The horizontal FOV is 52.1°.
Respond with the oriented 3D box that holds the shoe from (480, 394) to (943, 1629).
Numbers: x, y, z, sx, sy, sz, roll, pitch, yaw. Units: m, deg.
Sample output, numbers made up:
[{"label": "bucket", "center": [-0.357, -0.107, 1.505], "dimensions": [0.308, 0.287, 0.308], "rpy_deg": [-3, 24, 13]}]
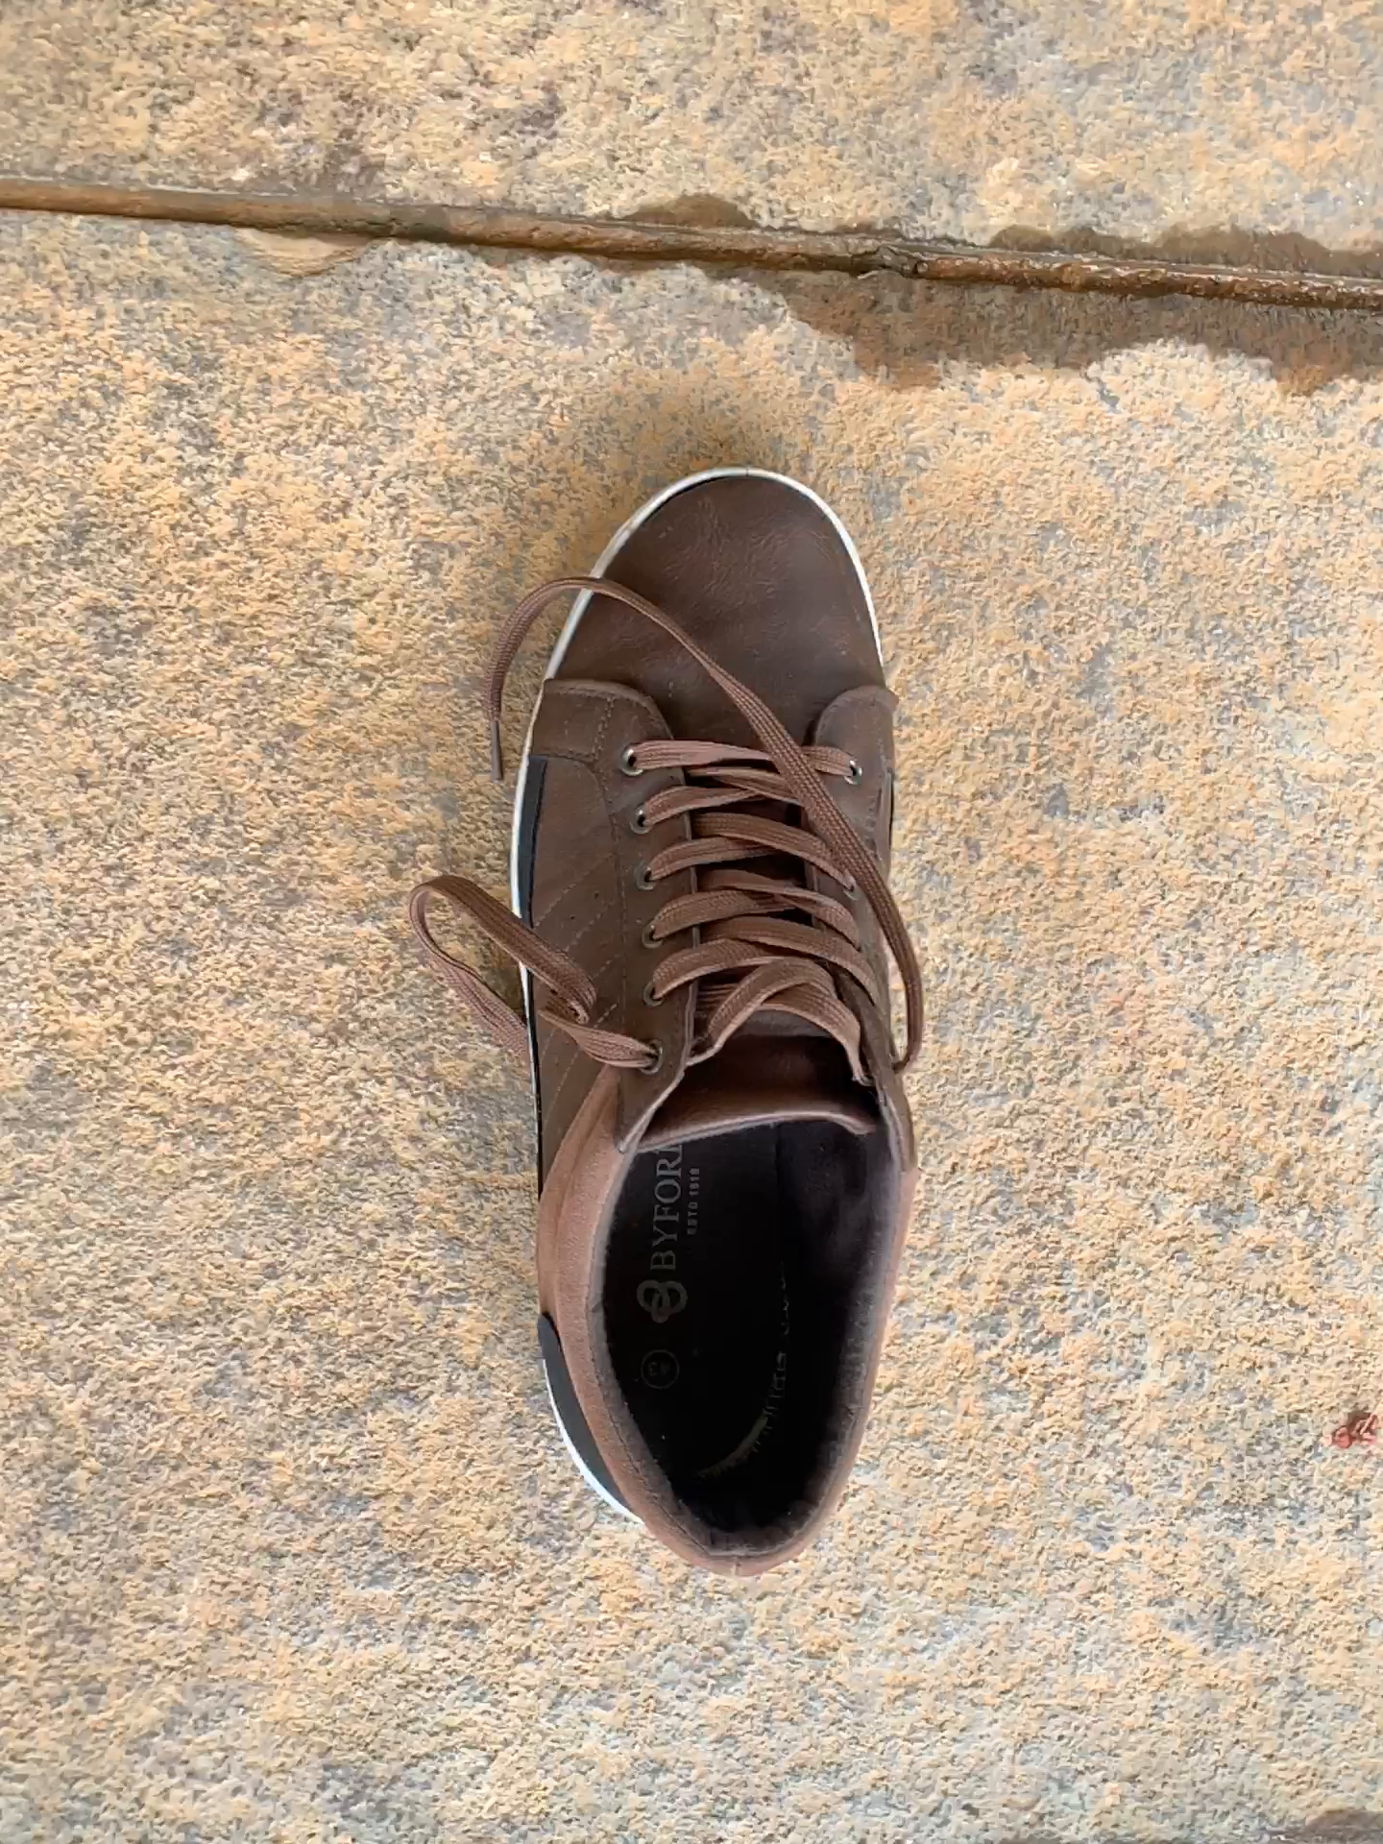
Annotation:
[{"label": "shoe", "center": [0.004, 0.021, 0.388], "dimensions": [0.110, 0.080, 0.300], "rpy_deg": [1, 86, -5]}]
